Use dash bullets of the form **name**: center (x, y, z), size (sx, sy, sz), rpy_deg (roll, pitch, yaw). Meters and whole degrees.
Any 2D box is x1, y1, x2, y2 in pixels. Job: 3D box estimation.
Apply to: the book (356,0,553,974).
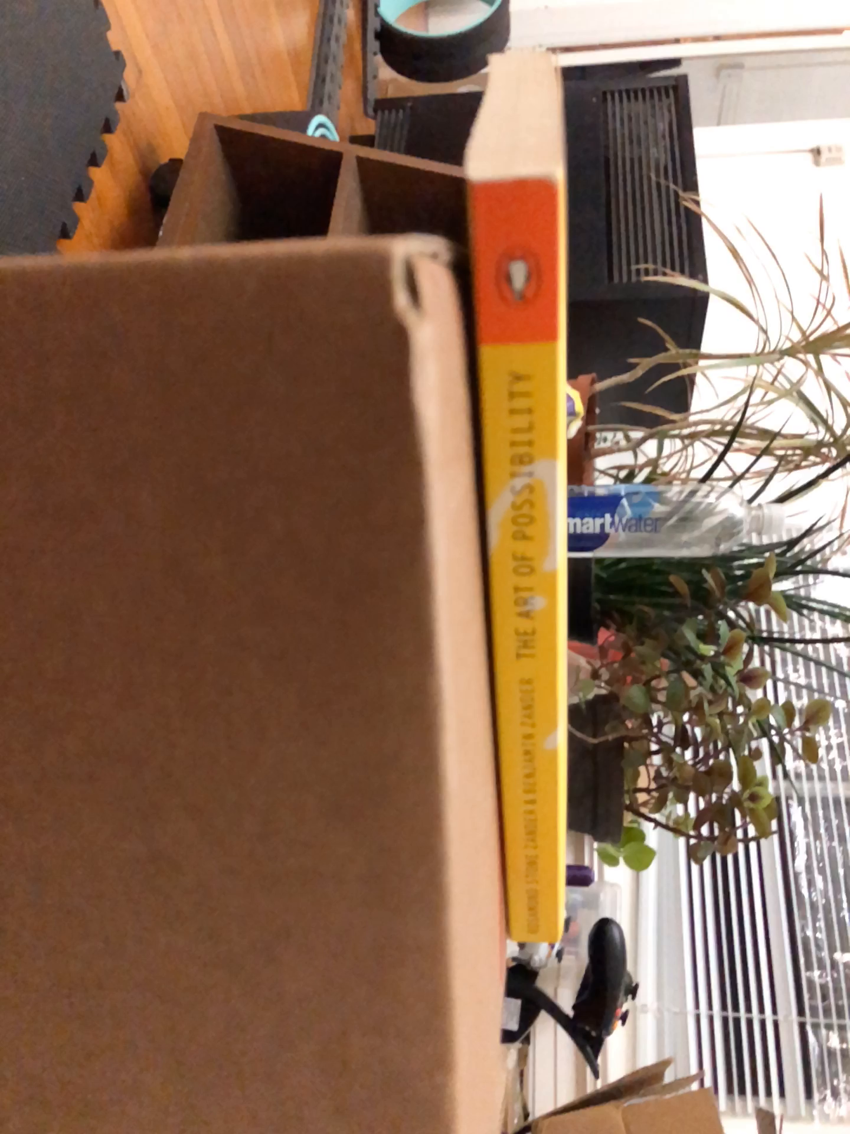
- **book**: center (0.020, -0.021, 0.250), size (0.150, 0.020, 0.210), rpy_deg (-78, 164, -53)
